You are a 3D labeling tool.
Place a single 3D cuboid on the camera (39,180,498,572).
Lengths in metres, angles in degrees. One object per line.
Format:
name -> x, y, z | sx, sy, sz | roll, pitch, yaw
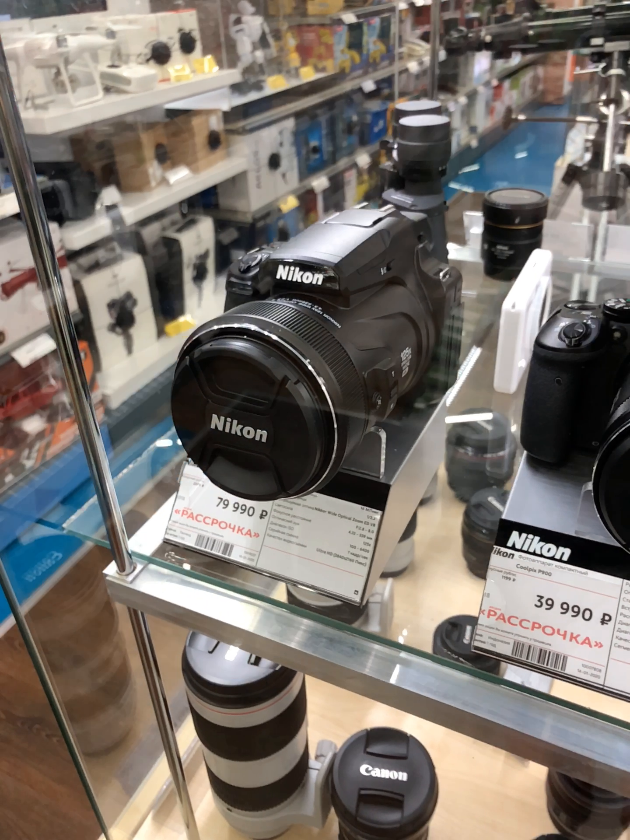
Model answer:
camera -> -0.008, -0.046, 0.394 | 0.160, 0.113, 0.201 | 13, 36, 24
